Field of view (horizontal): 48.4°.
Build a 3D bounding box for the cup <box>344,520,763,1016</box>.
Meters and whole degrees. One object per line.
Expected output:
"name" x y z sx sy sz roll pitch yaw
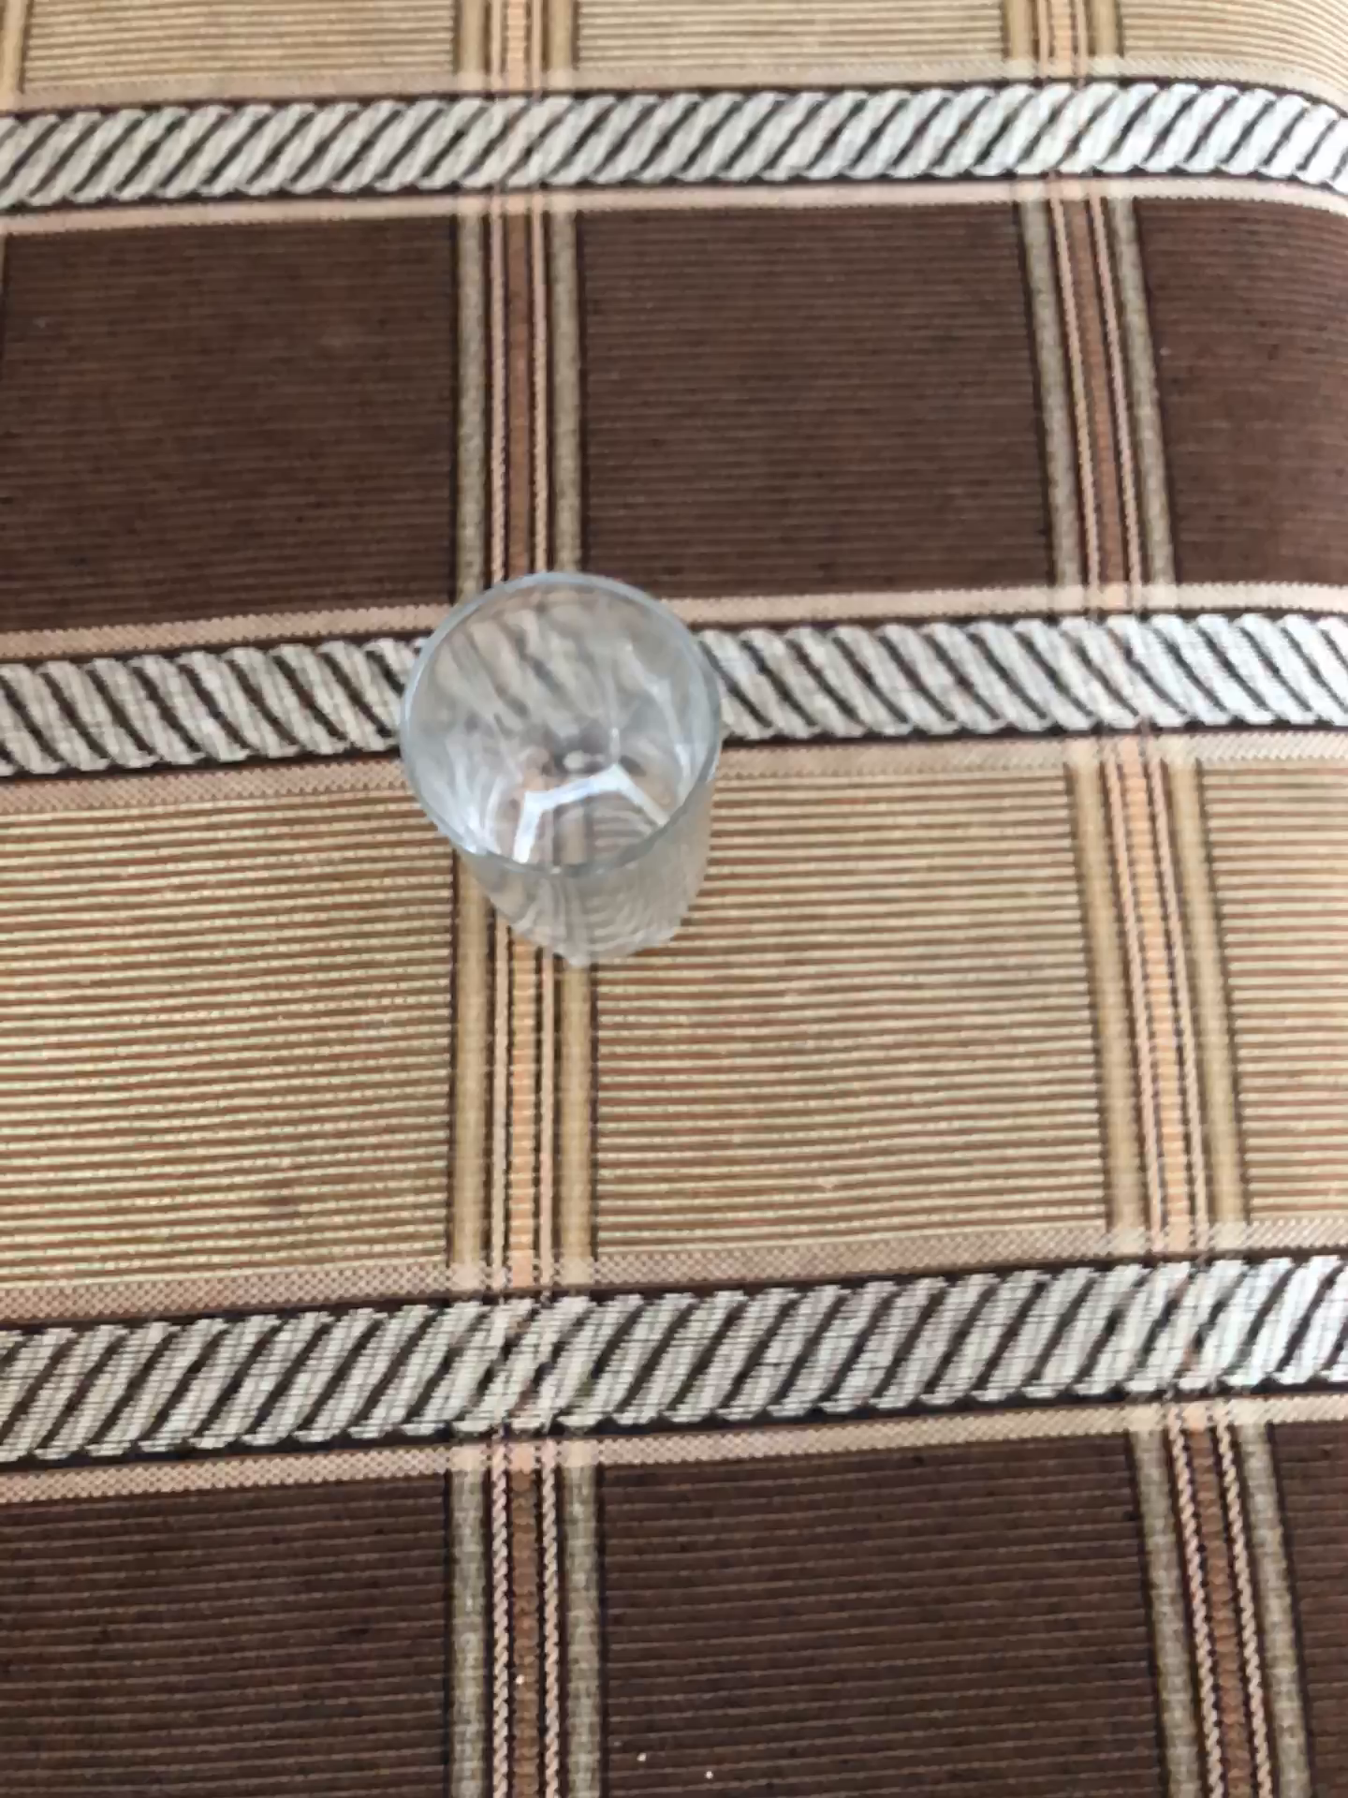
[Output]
"cup" -0.023 -0.025 0.380 0.075 0.131 0.077 0 76 1
